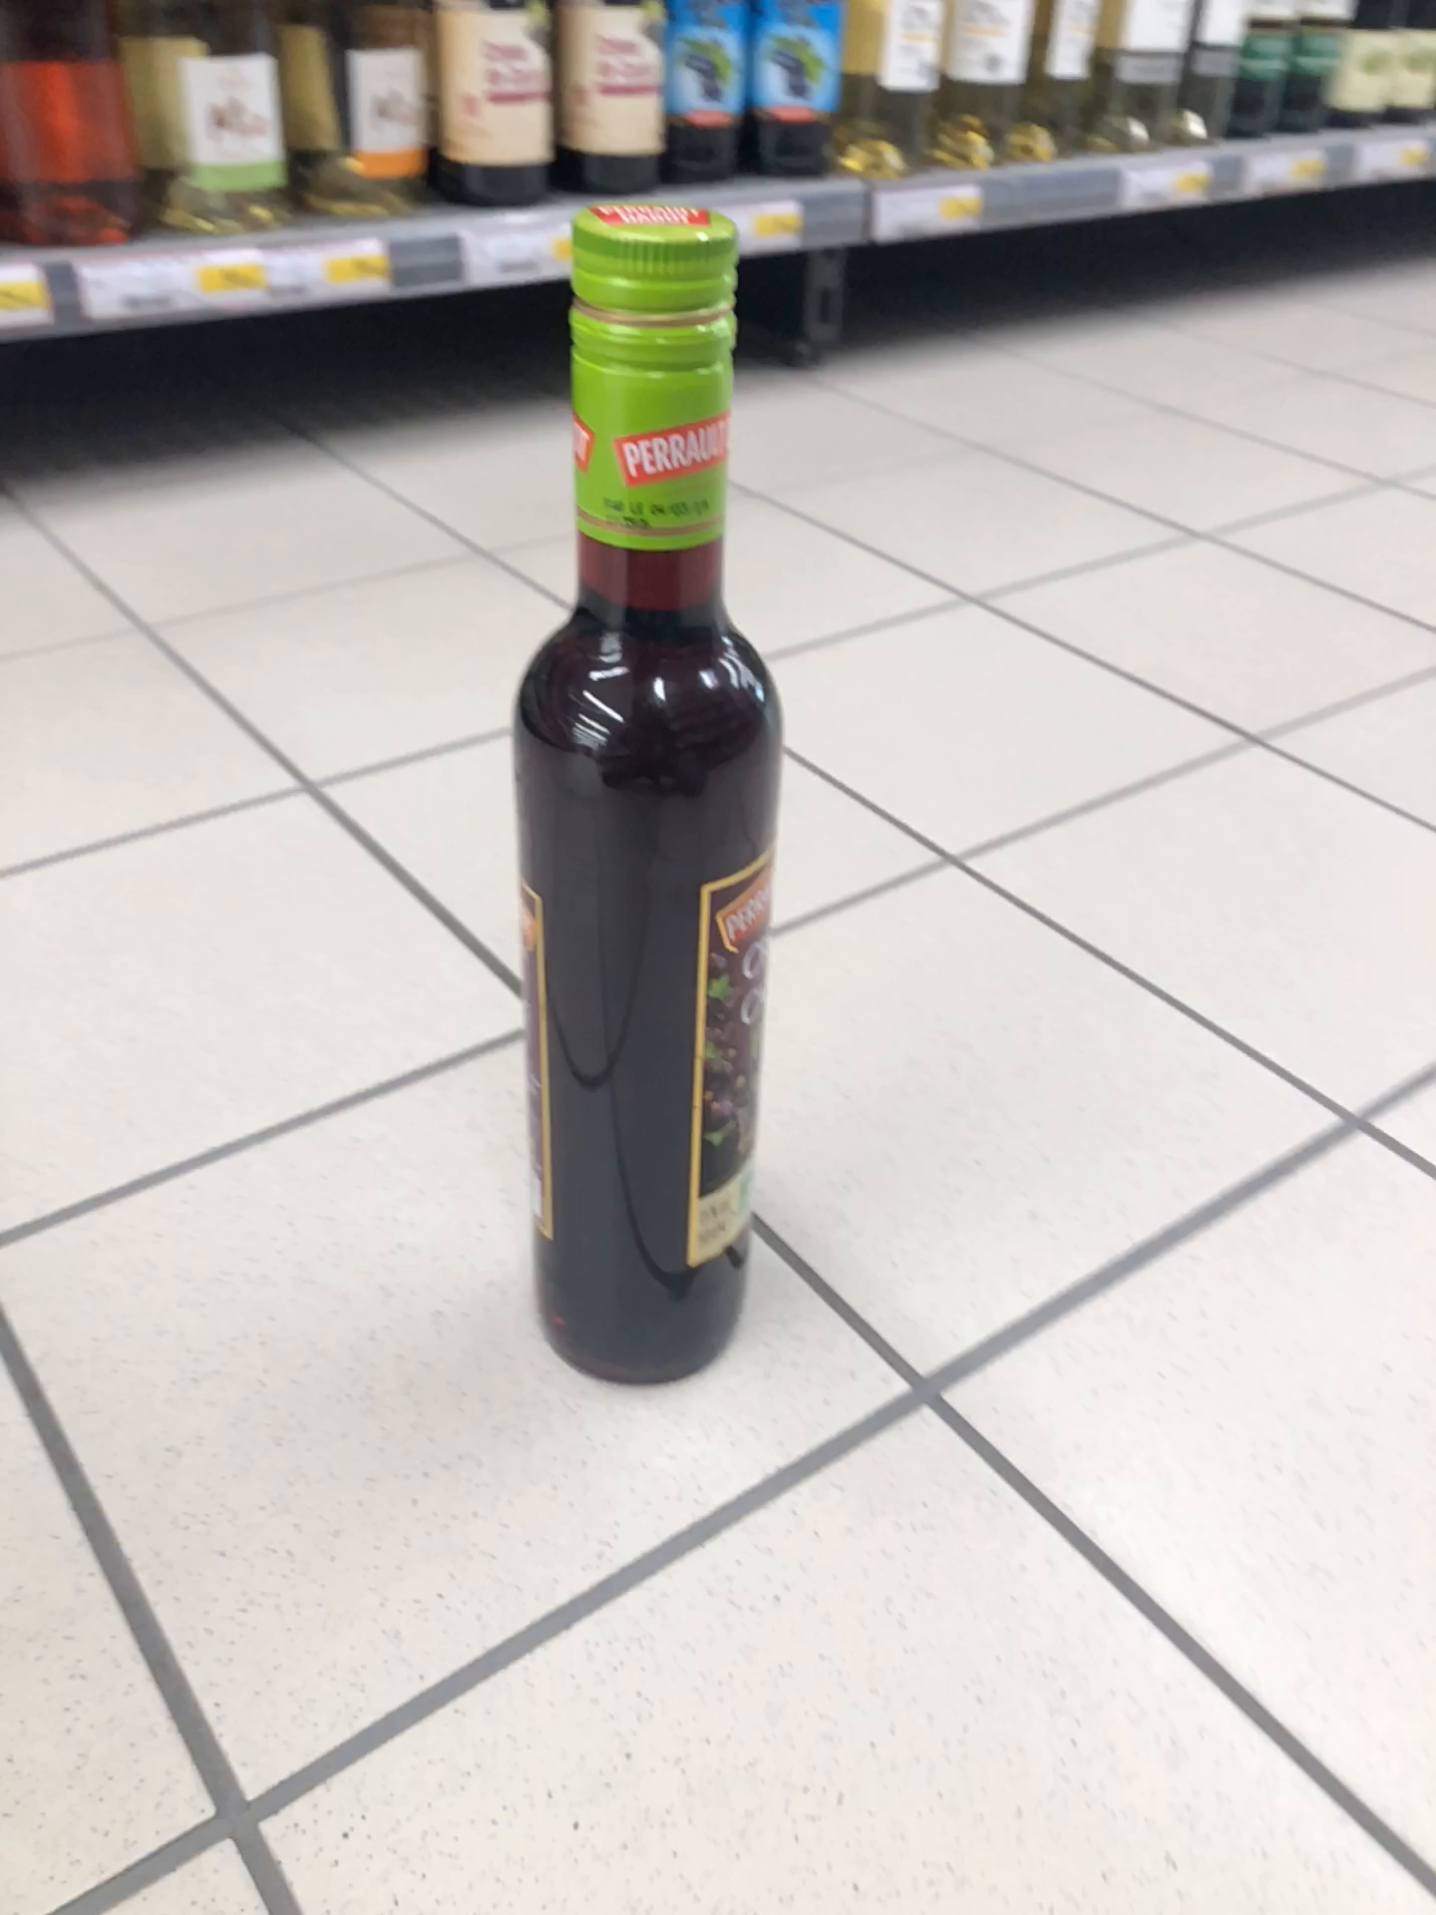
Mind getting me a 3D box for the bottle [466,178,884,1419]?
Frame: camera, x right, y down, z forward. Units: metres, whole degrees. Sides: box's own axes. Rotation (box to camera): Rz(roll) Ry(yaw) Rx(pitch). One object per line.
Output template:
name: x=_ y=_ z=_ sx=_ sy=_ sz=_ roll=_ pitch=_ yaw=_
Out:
bottle: x=-0.011 y=-0.018 z=0.374 sx=0.070 sy=0.288 sz=0.070 roll=2 pitch=34 yaw=-1
